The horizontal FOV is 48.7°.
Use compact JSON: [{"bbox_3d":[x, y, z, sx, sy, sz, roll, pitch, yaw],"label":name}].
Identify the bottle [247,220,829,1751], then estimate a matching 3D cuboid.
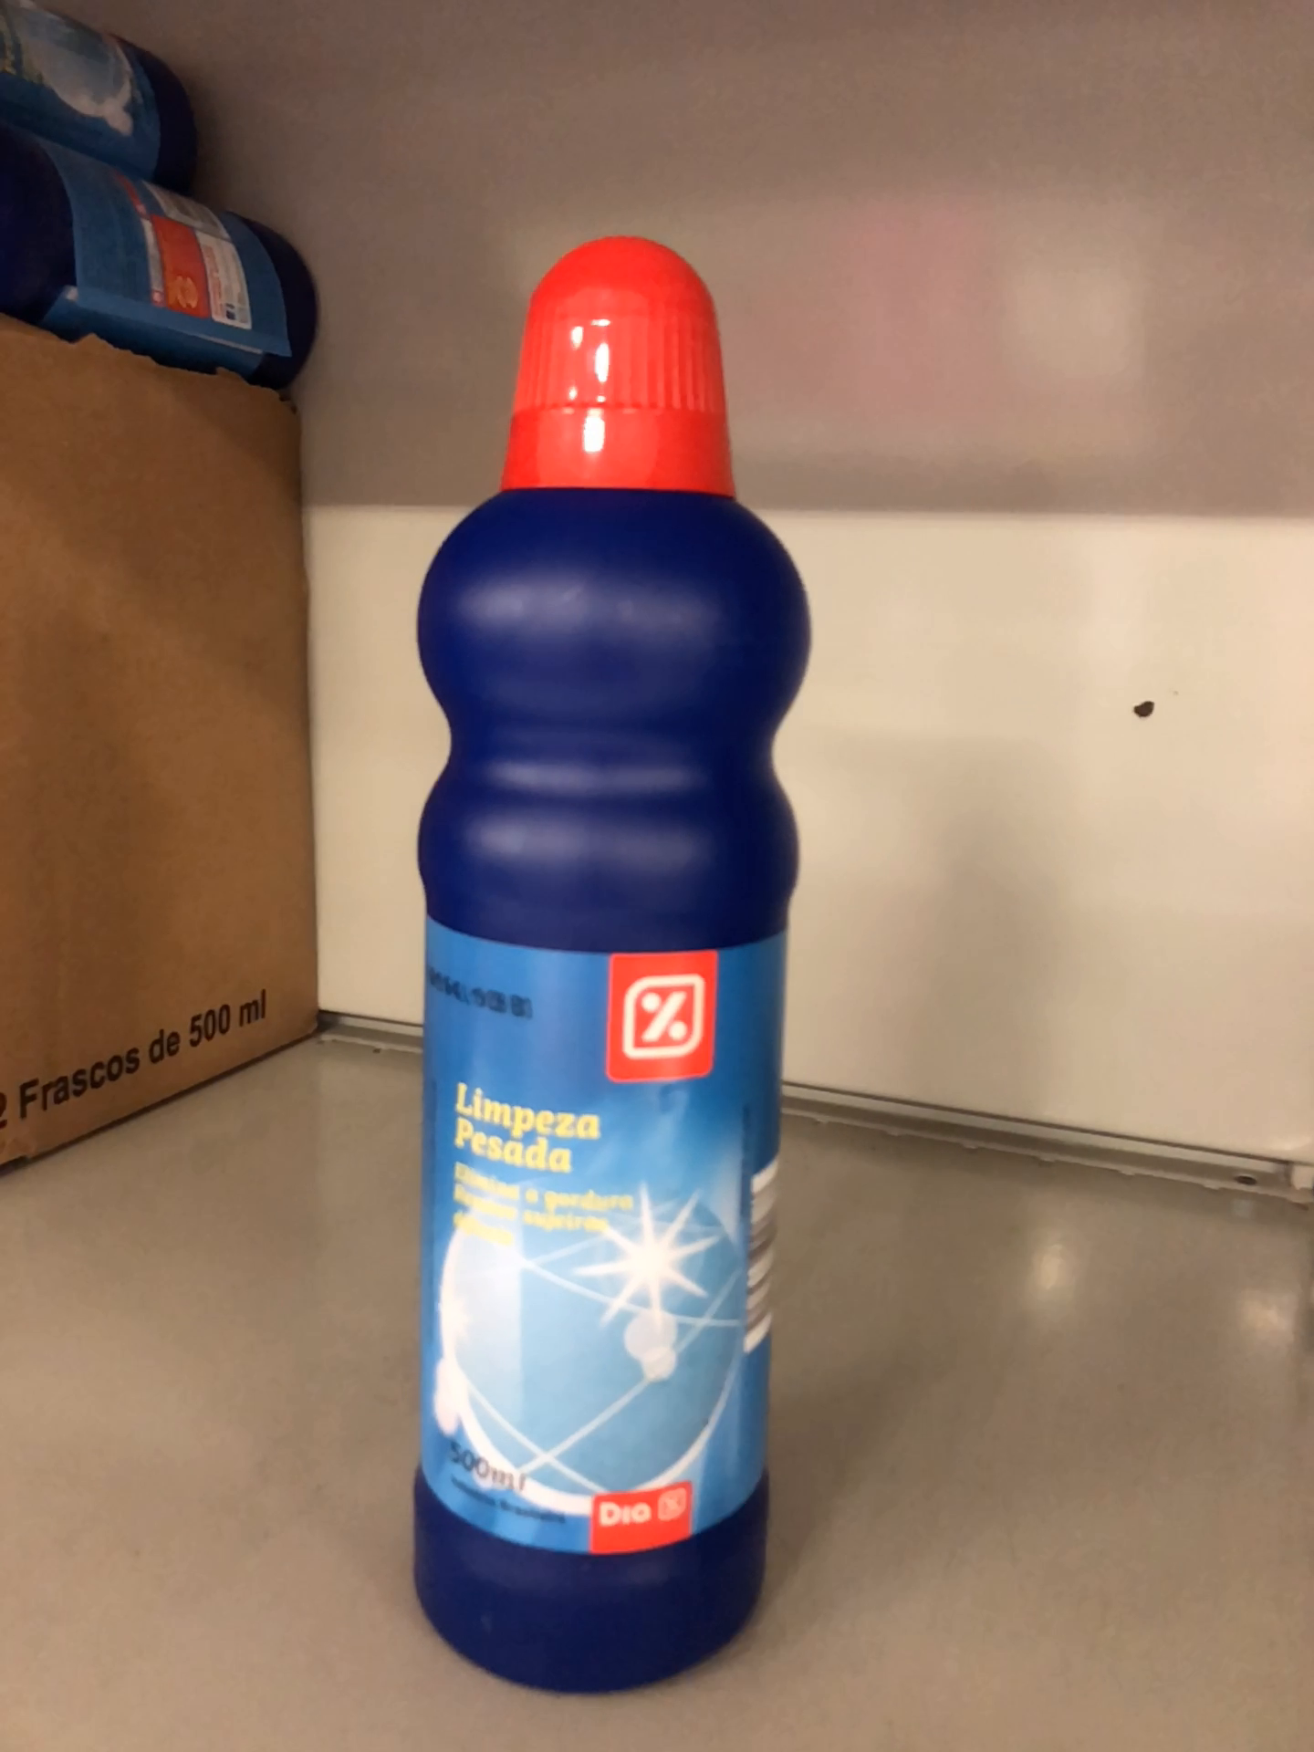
[{"bbox_3d":[-0.014,0.026,0.246,0.070,0.239,0.070,0,11,0],"label":"bottle"}]
